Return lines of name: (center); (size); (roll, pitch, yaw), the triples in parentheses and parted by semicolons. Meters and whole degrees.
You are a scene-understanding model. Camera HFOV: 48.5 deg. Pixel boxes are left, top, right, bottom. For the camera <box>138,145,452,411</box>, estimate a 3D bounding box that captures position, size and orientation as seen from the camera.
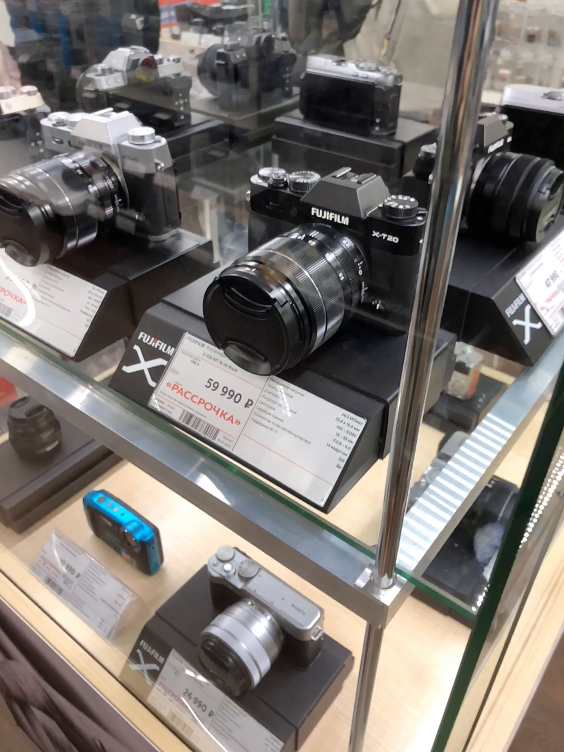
camera: (0.009, -0.066, 0.361); (0.121, 0.081, 0.121); (25, 43, 29)
